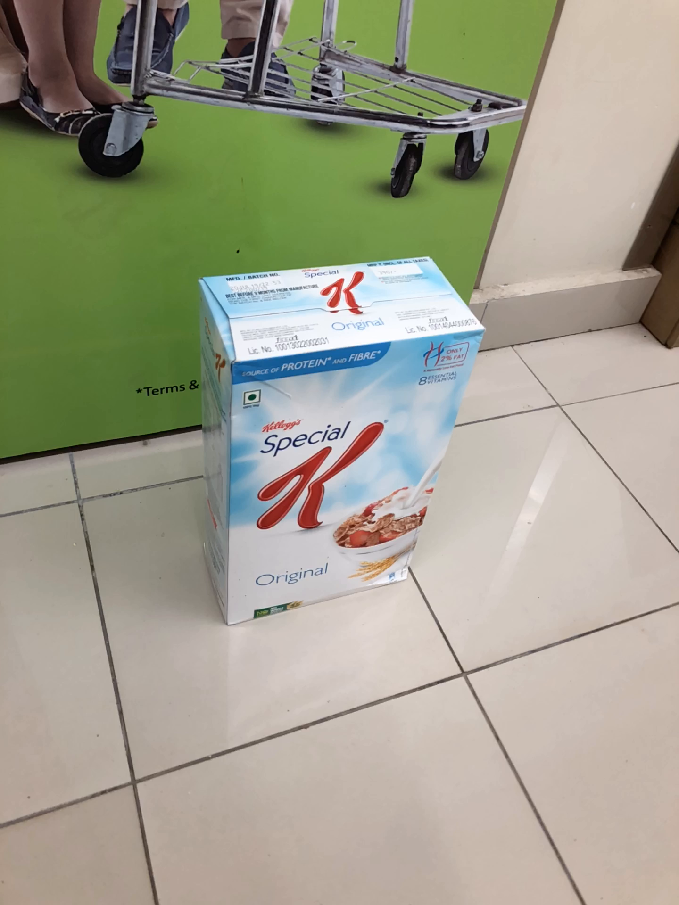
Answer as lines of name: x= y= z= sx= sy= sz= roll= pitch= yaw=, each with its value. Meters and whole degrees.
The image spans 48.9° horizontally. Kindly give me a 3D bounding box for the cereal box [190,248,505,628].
cereal box: x=-0.014 y=-0.001 z=0.632 sx=0.200 sy=0.308 sz=0.100 roll=-11 pitch=49 yaw=-20
